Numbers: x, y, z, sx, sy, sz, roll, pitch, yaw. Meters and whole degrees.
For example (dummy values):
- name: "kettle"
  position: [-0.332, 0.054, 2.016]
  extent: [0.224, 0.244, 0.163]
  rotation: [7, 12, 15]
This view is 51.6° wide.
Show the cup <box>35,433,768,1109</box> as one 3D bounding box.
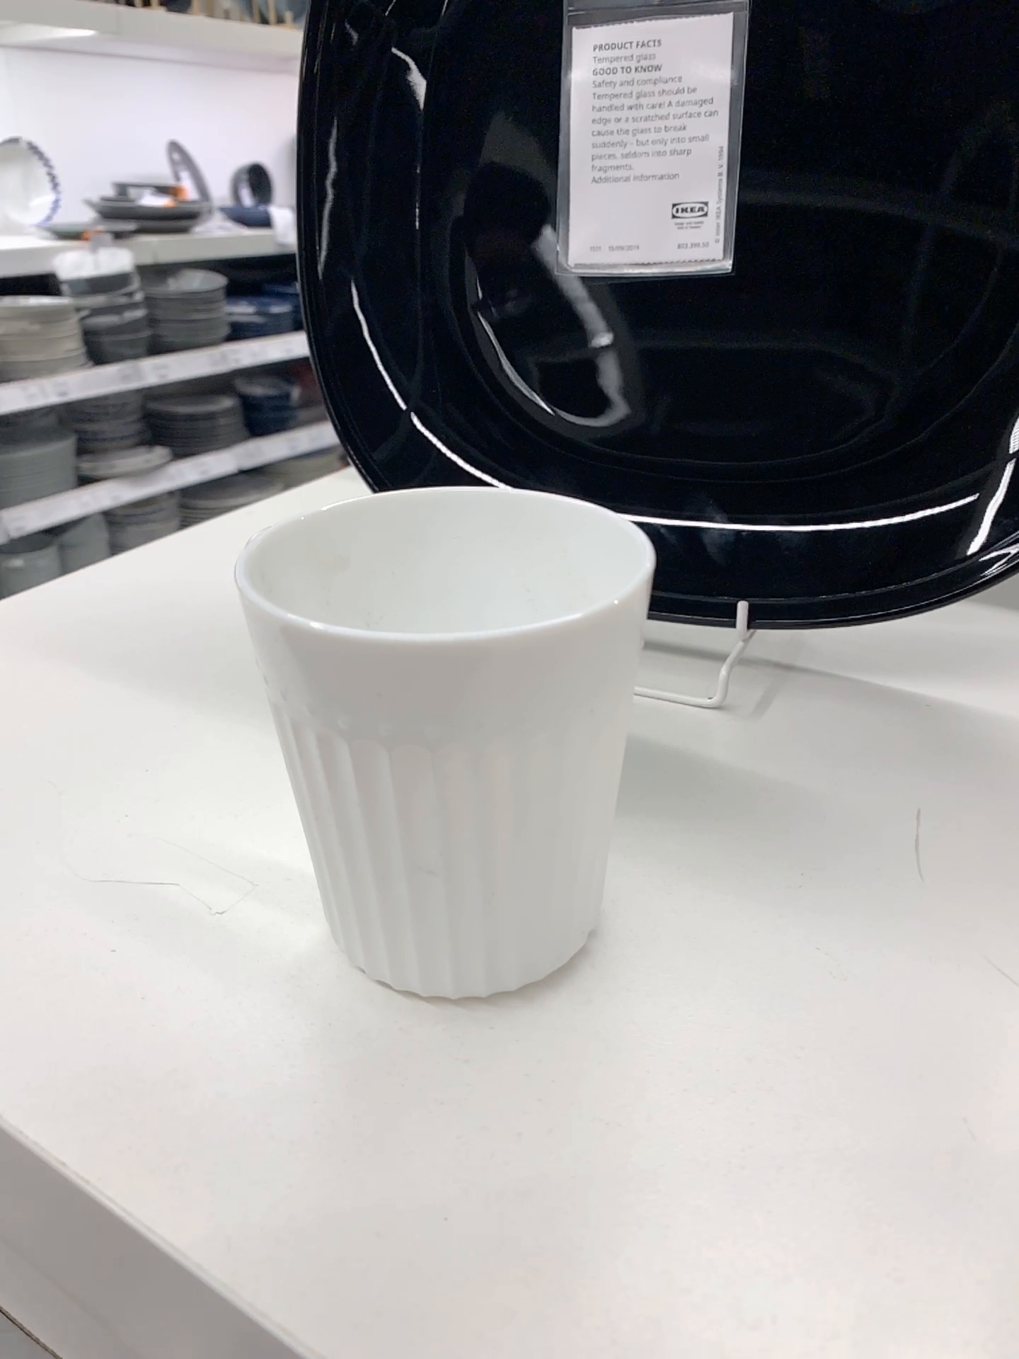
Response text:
- name: "cup"
  position: [-0.021, 0.005, 0.222]
  extent: [0.110, 0.080, 0.090]
  rotation: [21, 33, 35]
